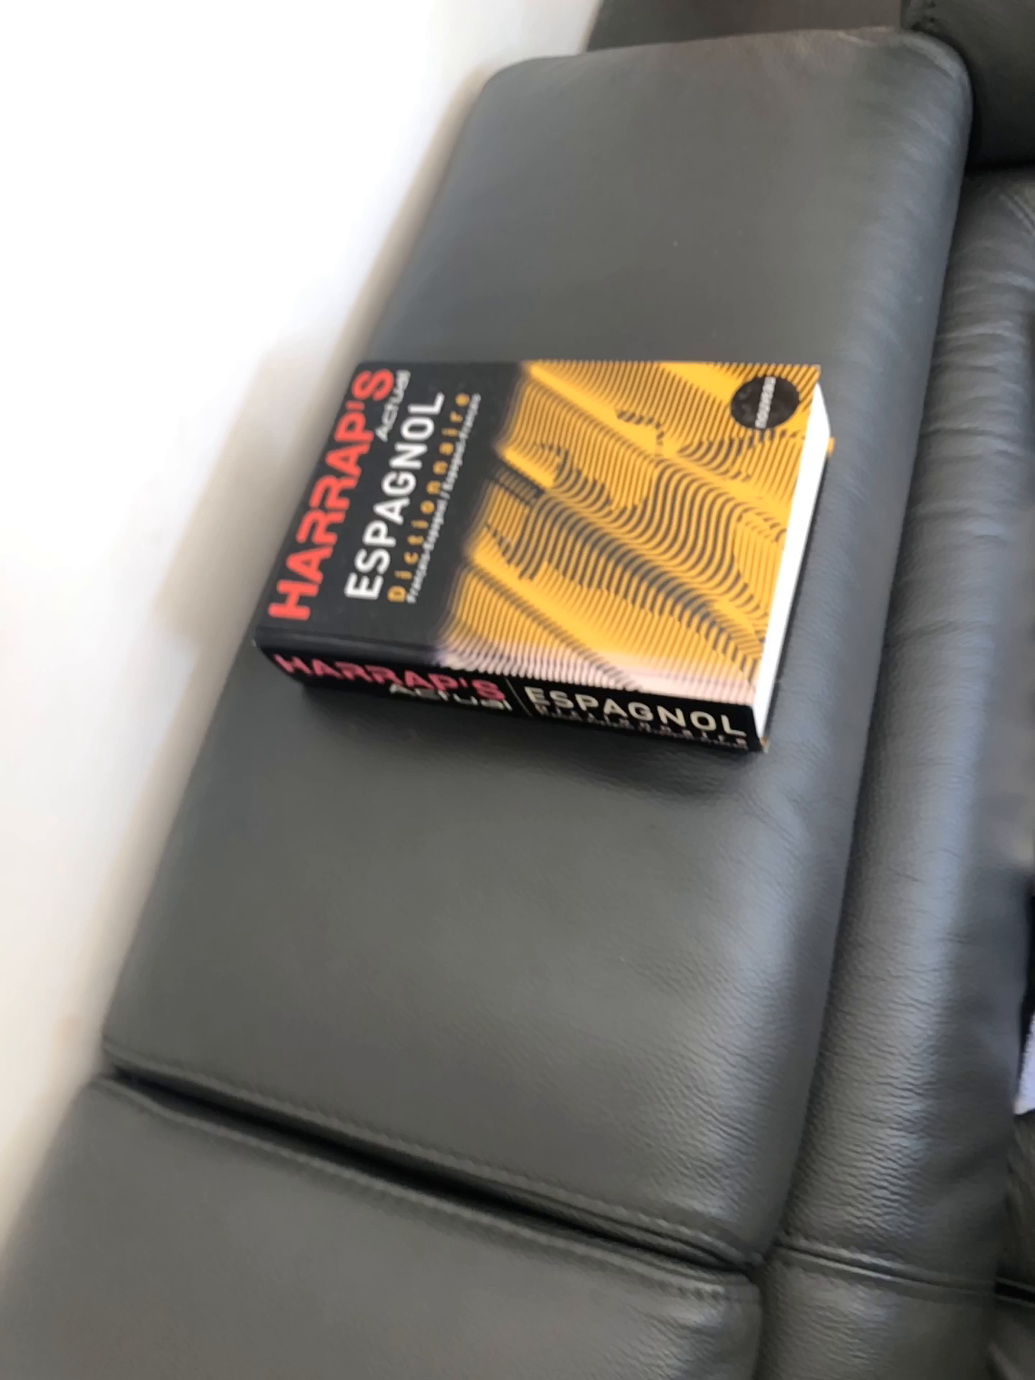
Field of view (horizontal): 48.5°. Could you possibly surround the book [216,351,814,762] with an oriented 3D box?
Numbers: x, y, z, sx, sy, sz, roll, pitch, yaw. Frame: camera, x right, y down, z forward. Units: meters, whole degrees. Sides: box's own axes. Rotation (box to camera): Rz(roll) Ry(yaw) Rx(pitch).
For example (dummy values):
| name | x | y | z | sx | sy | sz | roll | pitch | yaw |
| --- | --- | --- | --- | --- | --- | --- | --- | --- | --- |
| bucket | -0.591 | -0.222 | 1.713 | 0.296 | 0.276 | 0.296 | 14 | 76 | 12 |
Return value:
| name | x | y | z | sx | sy | sz | roll | pitch | yaw |
| --- | --- | --- | --- | --- | --- | --- | --- | --- | --- |
| book | 0.001 | -0.078 | 0.581 | 0.260 | 0.050 | 0.185 | 8 | 68 | 21 |
